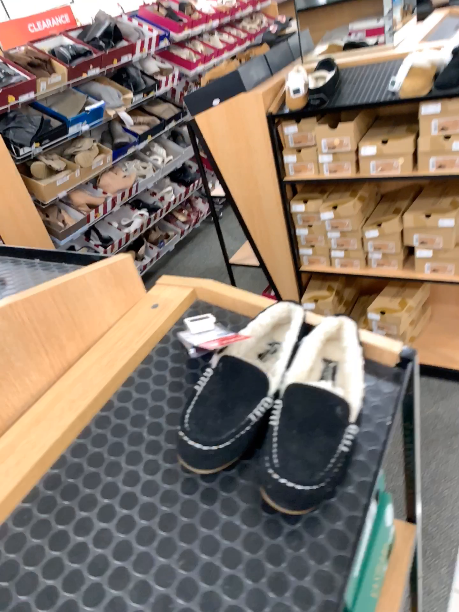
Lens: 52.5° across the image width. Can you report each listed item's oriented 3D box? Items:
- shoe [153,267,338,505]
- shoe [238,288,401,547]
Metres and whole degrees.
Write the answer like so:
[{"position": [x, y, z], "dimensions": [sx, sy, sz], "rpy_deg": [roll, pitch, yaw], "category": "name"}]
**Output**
[{"position": [0.027, 0.074, 0.521], "dimensions": [0.086, 0.089, 0.251], "rpy_deg": [25, 48, 18], "category": "shoe"}, {"position": [0.103, 0.101, 0.497], "dimensions": [0.086, 0.089, 0.251], "rpy_deg": [21, 45, 15], "category": "shoe"}]
